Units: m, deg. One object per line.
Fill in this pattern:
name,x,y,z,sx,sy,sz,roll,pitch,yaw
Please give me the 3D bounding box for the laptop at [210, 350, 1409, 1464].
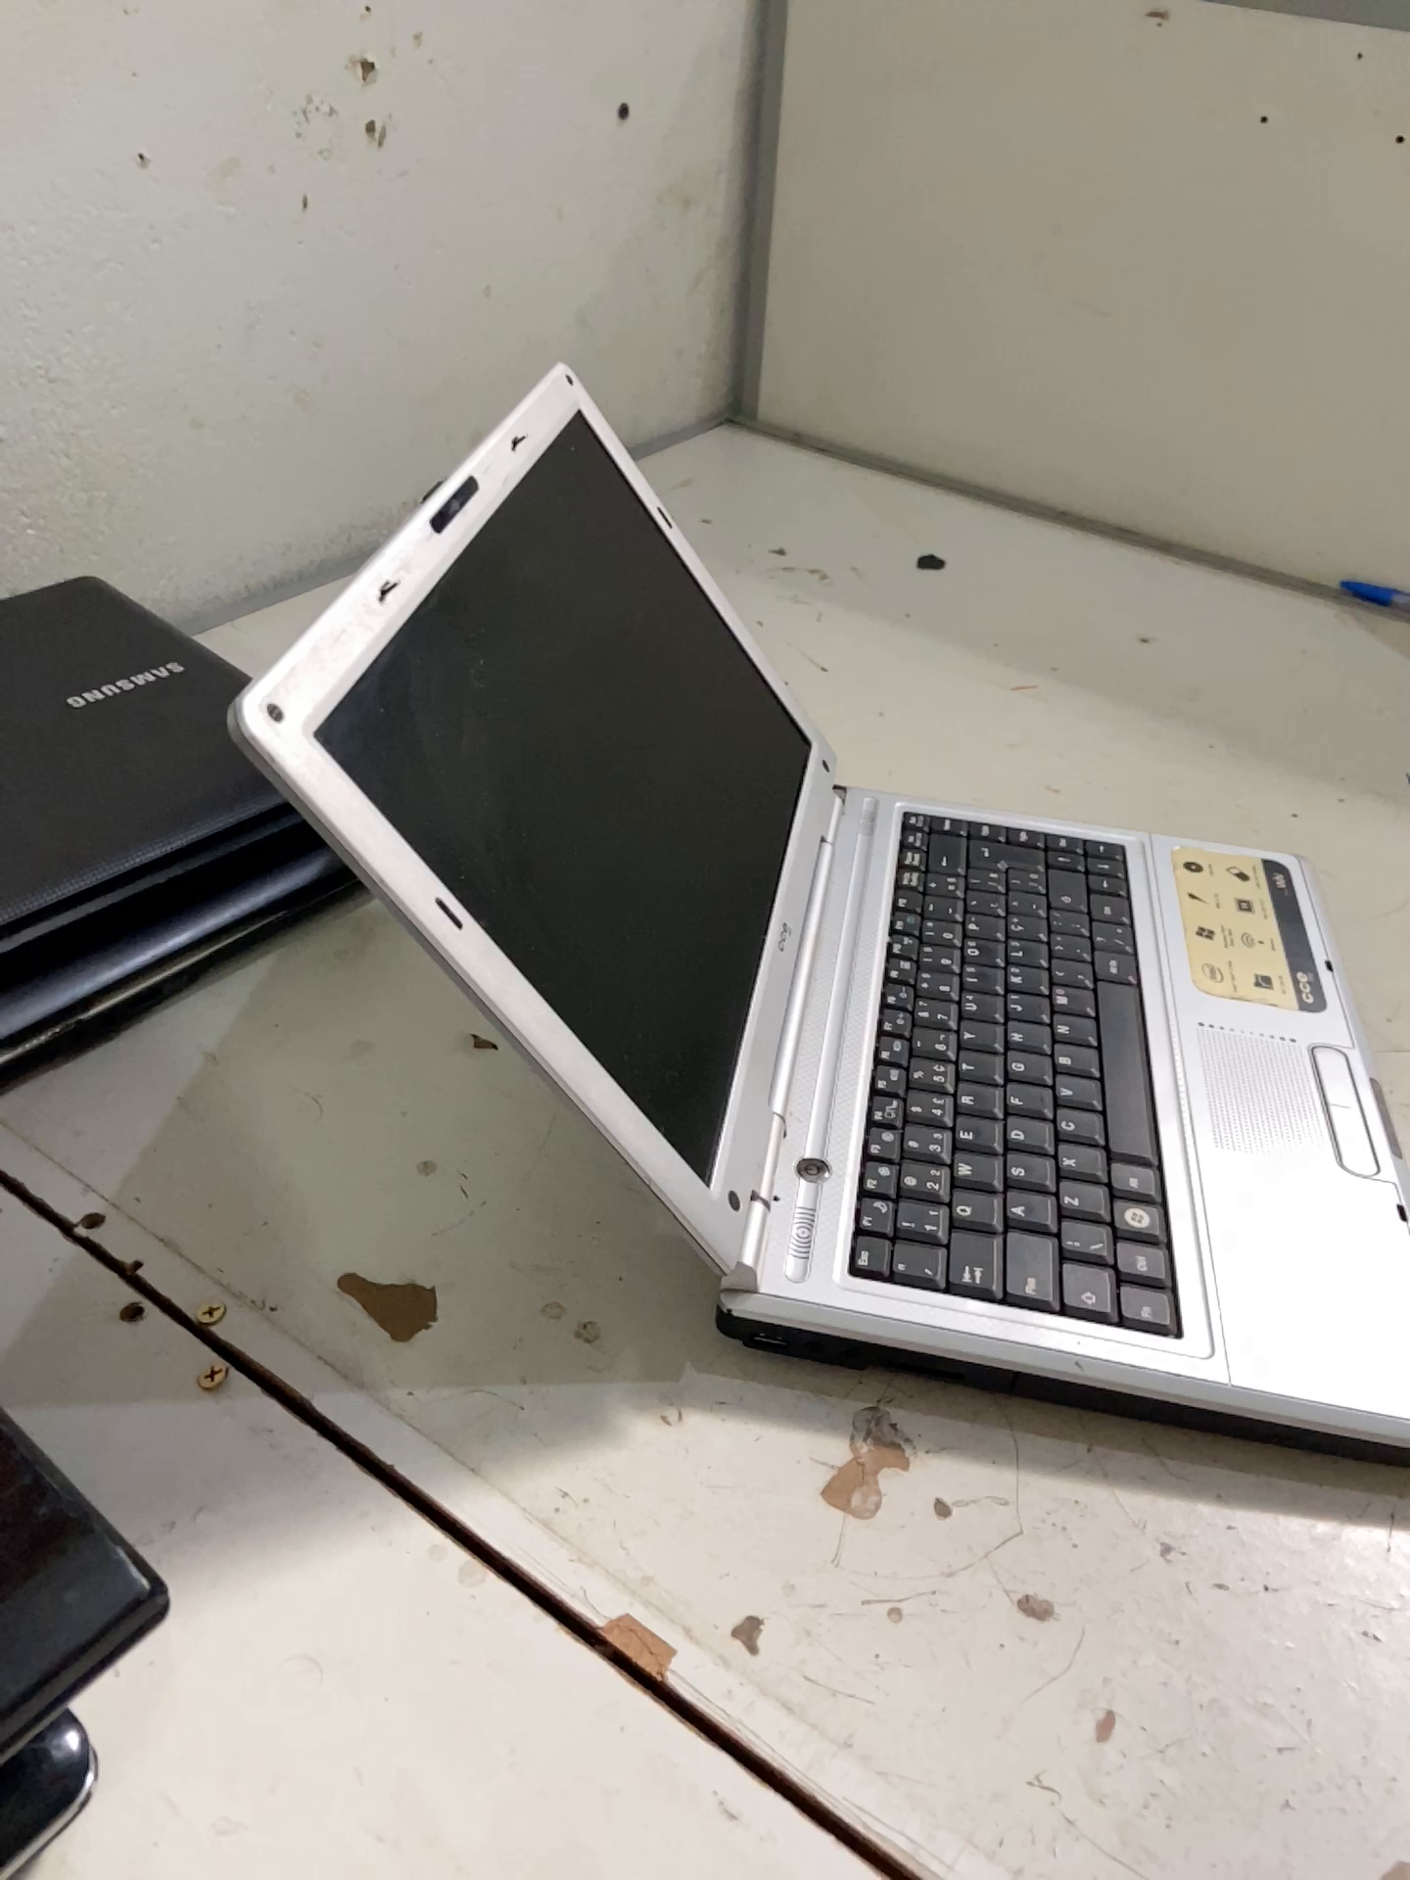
laptop,0.089,-0.049,0.539,0.387,0.190,0.340,10,37,5
